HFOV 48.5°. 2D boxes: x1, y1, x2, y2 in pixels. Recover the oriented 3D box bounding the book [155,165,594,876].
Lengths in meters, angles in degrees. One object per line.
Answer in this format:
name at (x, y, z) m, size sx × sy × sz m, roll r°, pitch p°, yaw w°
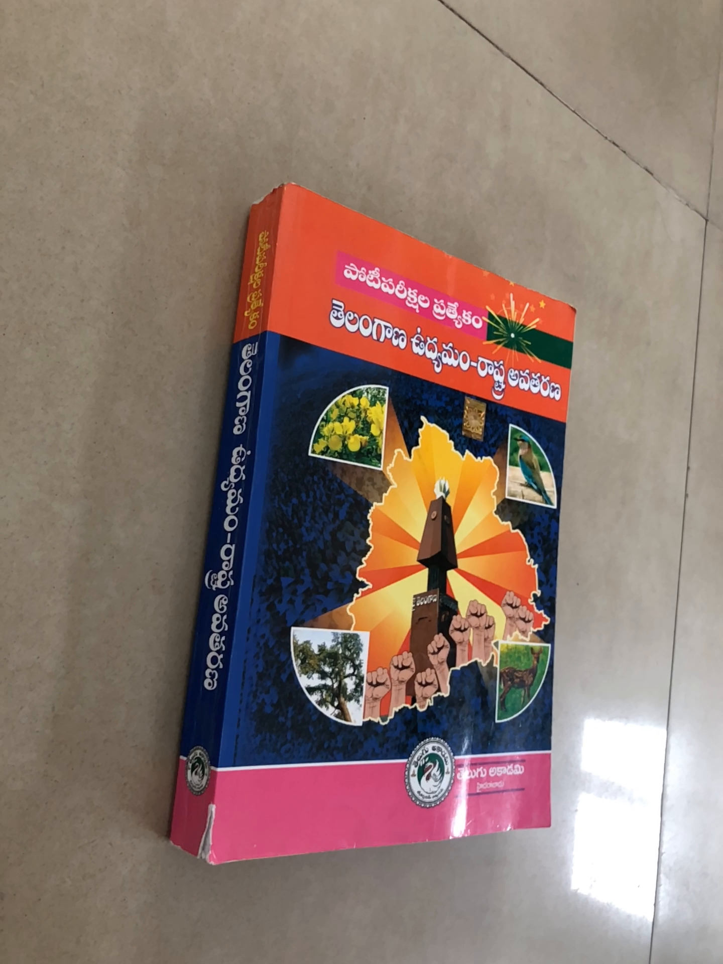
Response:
book at (0.024, 0.022, 0.370) m, size 0.202 × 0.040 × 0.265 m, roll 11°, pitch 78°, yaw -35°
